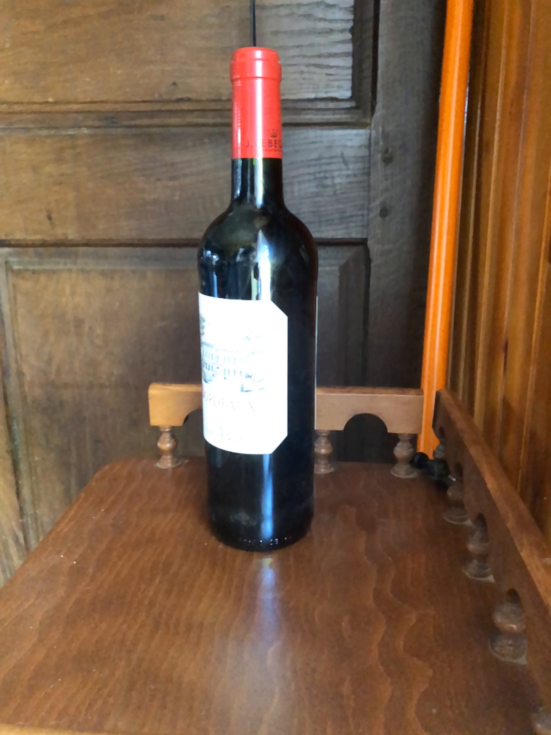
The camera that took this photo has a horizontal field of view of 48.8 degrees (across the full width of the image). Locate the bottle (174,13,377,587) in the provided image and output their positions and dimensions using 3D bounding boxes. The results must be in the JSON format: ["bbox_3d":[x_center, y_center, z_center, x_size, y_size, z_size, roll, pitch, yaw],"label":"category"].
[{"bbox_3d":[0.001,-0.032,0.379,0.080,0.309,0.080,0,16,0],"label":"bottle"}]
